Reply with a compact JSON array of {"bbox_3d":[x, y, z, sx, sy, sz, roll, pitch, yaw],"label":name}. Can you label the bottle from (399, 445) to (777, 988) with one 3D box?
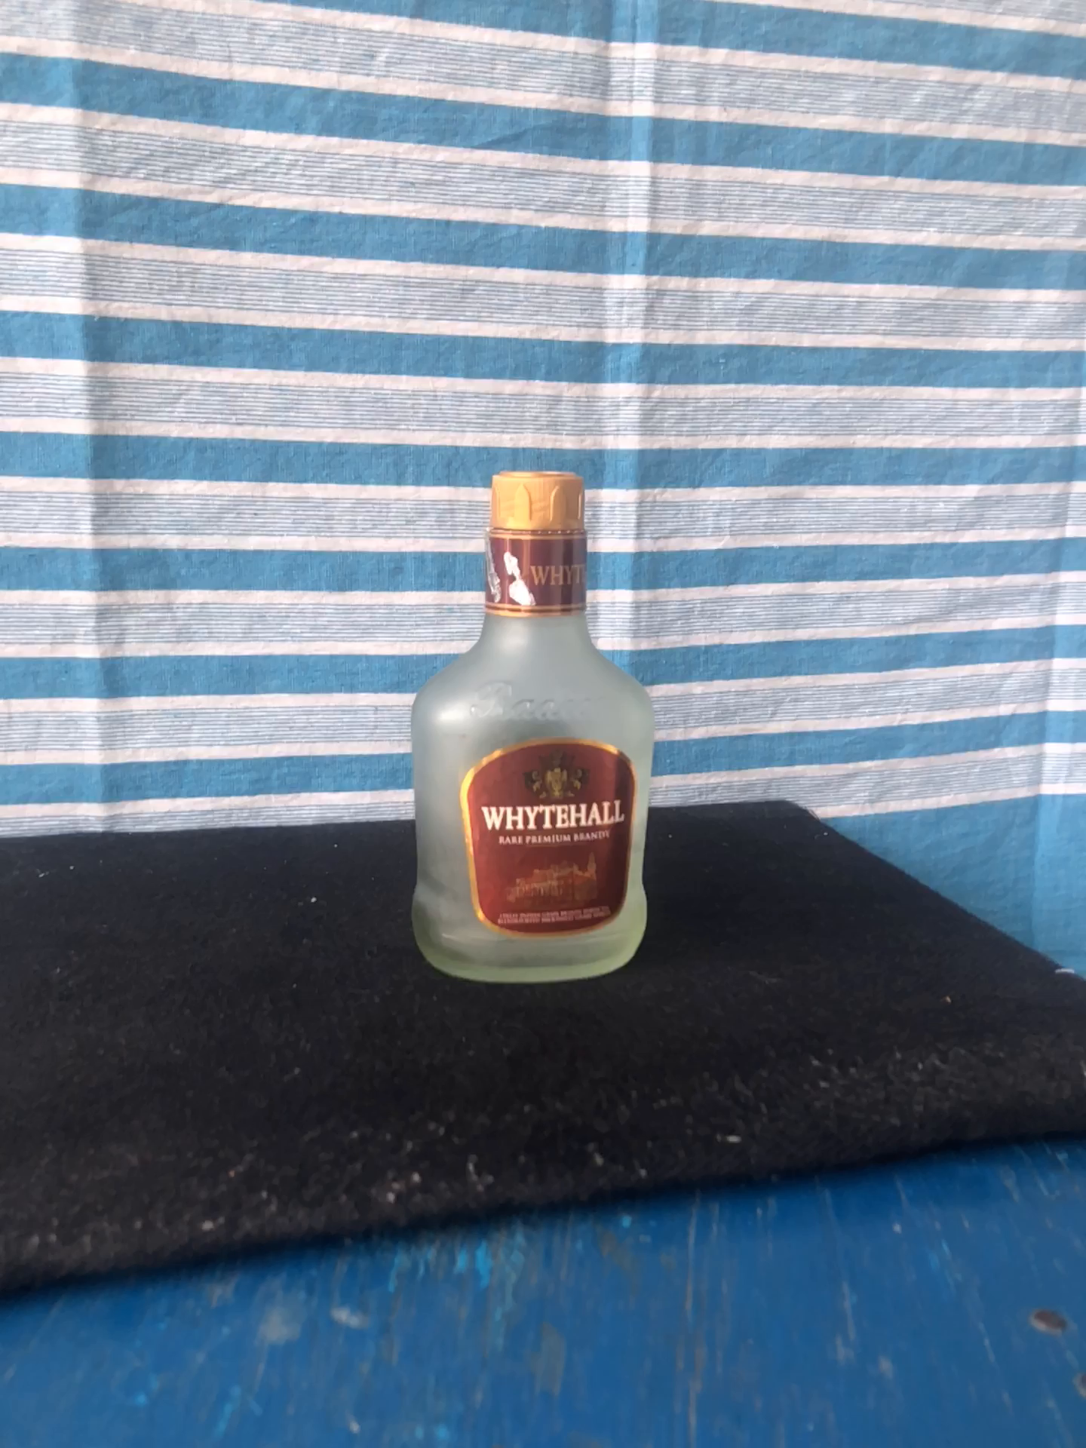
[{"bbox_3d":[0.006,-0.005,0.319,0.080,0.130,0.060,1,14,-12],"label":"bottle"}]
